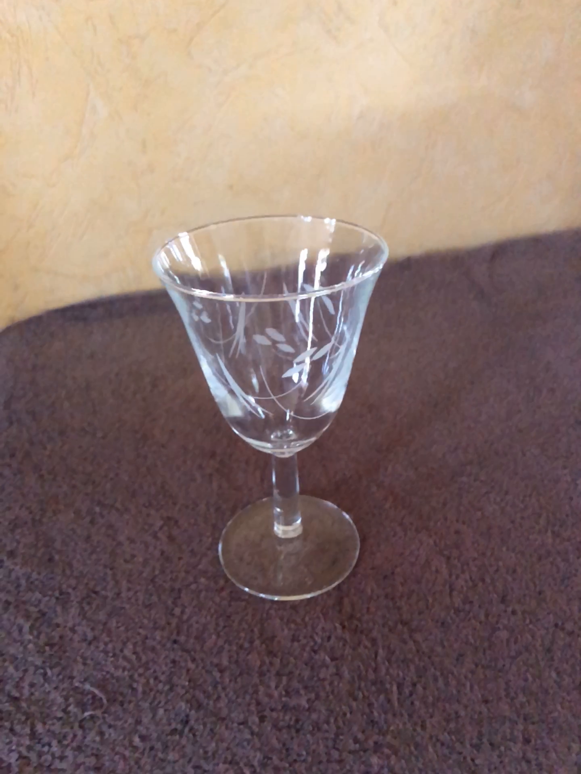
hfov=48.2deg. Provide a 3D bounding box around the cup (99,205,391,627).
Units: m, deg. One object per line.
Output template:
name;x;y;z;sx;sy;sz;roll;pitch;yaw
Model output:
cup;-0.006;0.011;0.274;0.090;0.149;0.091;-3;32;2
